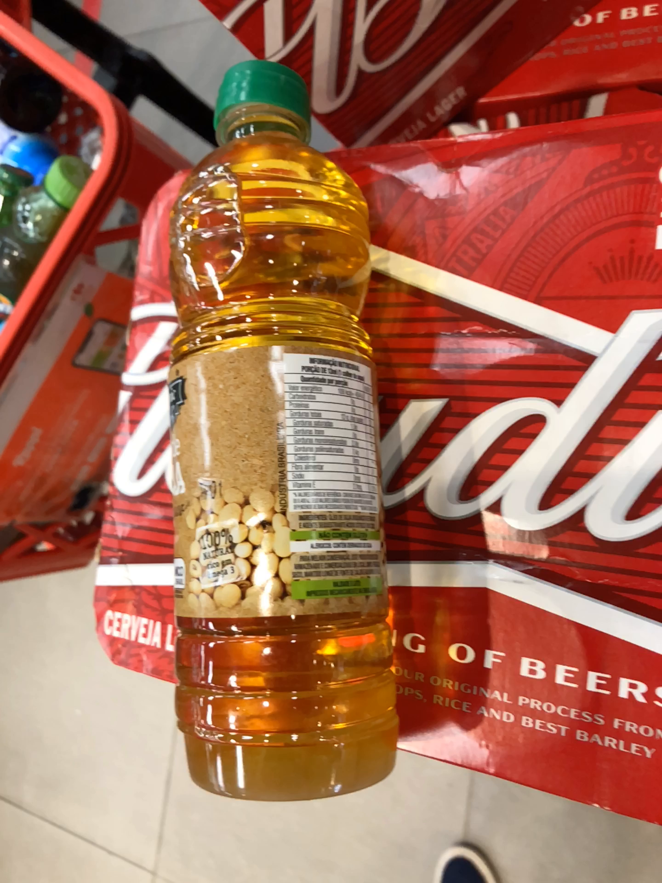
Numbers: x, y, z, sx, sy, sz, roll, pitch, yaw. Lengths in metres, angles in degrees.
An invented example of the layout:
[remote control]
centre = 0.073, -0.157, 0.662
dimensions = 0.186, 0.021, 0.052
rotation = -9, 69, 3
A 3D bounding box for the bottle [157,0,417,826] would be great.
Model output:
[bottle]
centre = -0.019, -0.027, 0.222
dimensions = 0.060, 0.060, 0.240
rotation = -1, 81, -9
